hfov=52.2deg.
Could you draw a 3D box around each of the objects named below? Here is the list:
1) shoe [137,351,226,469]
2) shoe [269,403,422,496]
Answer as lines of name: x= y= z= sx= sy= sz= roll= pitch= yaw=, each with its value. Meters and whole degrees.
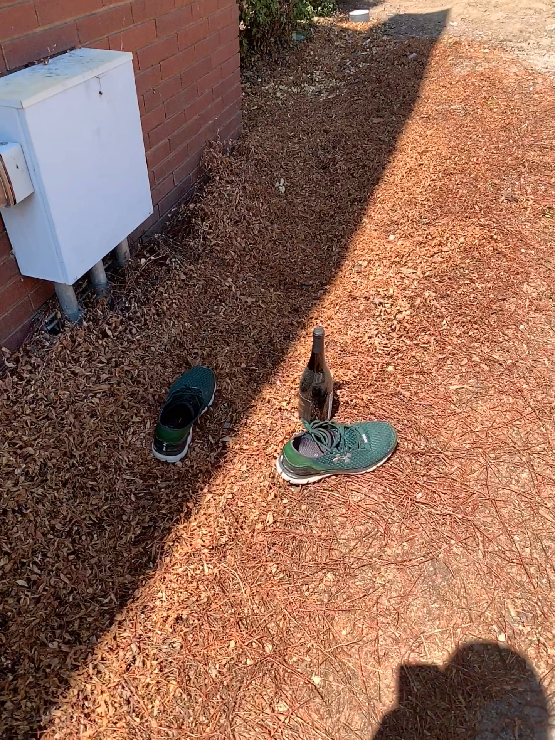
shoe: x=-0.230 y=0.088 z=1.419 sx=0.120 sy=0.070 sz=0.332 roll=7 pitch=41 yaw=8
shoe: x=0.152 y=0.180 z=1.311 sx=0.320 sy=0.079 sz=0.131 roll=-11 pitch=42 yaw=-13
